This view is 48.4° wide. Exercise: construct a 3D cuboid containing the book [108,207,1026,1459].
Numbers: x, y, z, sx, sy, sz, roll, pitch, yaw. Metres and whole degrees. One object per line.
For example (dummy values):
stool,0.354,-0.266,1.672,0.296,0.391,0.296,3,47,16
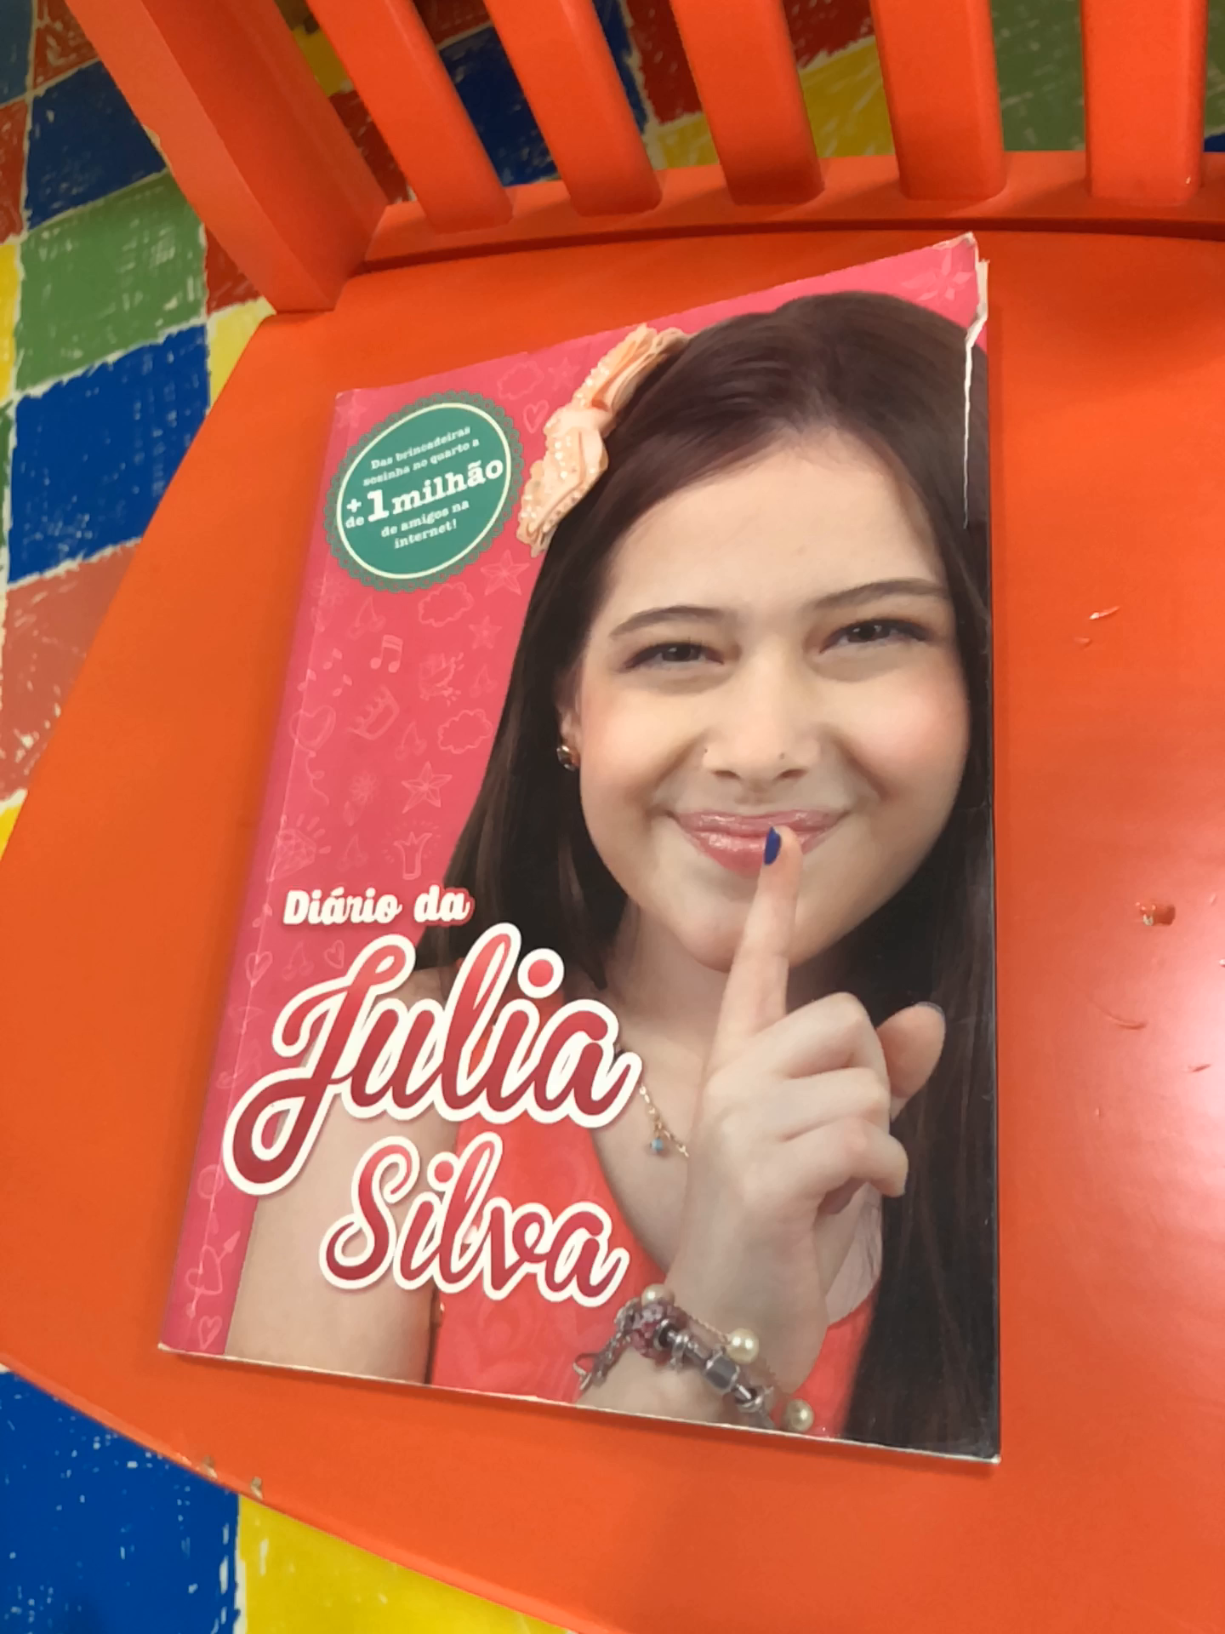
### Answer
book,-0.003,-0.010,0.285,0.171,0.020,0.241,-2,69,21
